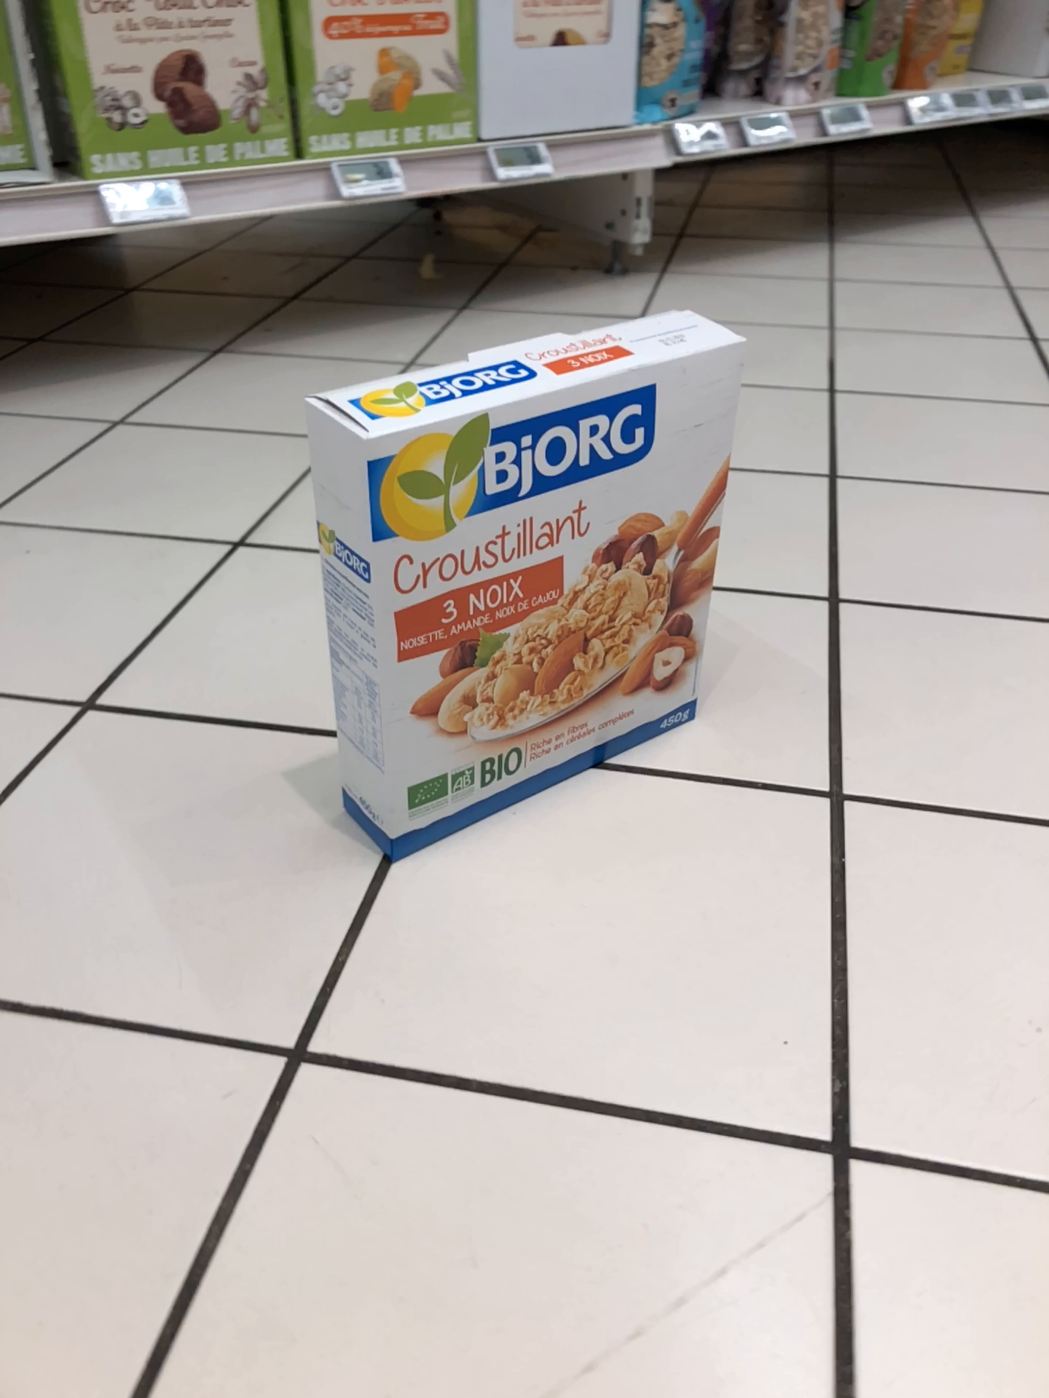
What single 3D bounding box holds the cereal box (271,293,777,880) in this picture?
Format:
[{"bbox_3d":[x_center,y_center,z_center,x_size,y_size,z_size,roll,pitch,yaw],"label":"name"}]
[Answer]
[{"bbox_3d":[0.004,-0.053,0.539,0.211,0.219,0.060,-22,42,-27],"label":"cereal box"}]
